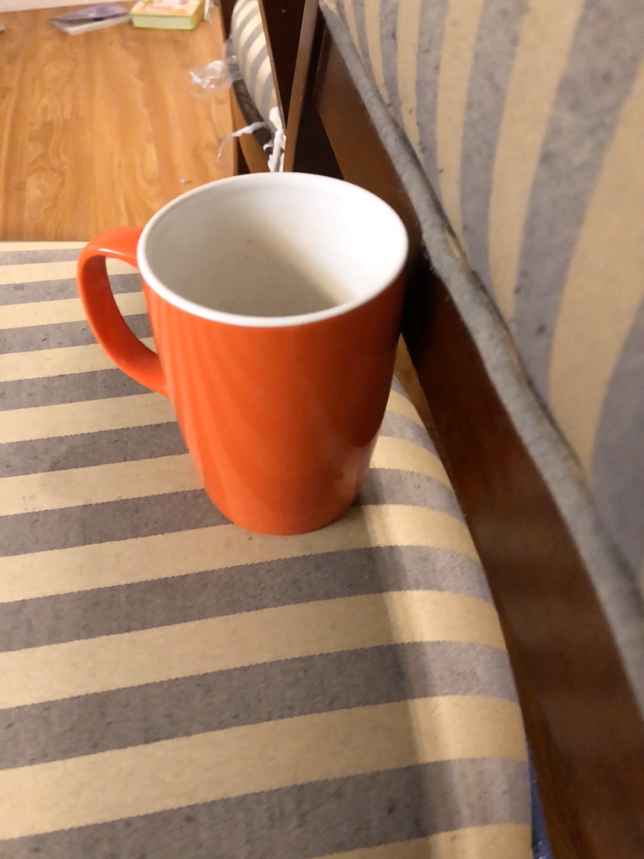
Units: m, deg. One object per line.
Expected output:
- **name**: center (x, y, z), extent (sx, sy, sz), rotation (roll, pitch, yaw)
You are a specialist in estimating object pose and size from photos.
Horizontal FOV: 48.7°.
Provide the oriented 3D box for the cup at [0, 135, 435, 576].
- **cup**: center (-0.033, -0.026, 0.246), extent (0.120, 0.099, 0.090), rotation (10, 49, 10)
